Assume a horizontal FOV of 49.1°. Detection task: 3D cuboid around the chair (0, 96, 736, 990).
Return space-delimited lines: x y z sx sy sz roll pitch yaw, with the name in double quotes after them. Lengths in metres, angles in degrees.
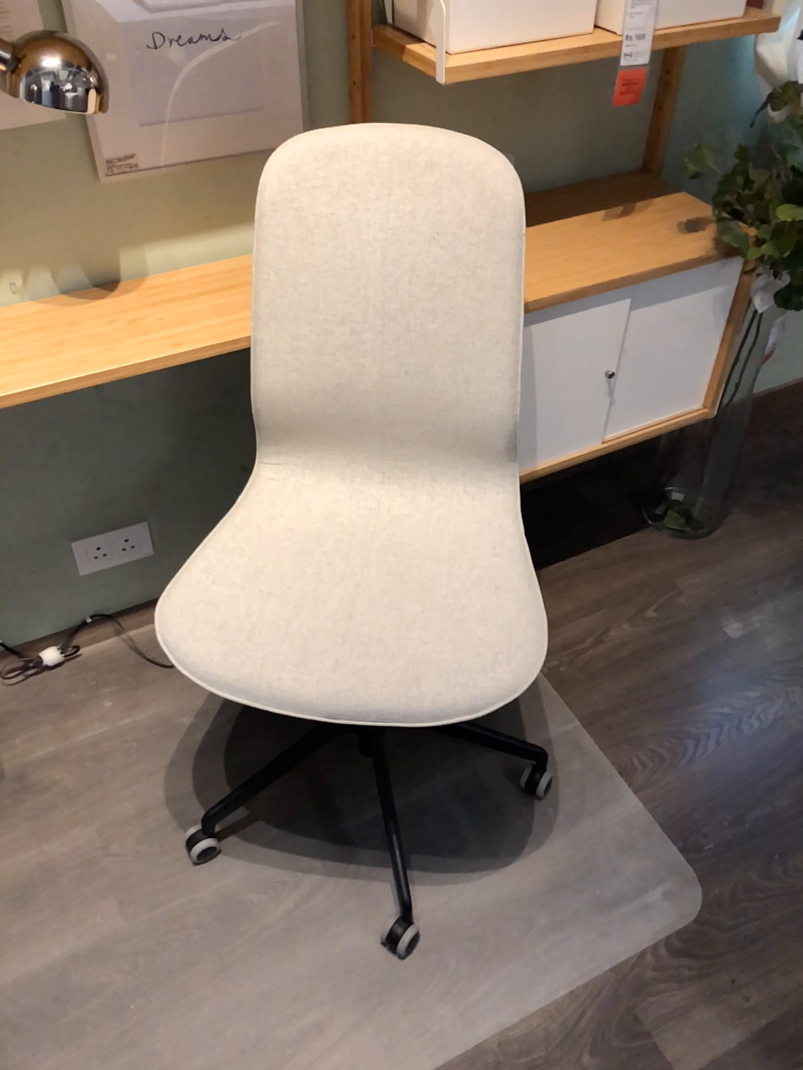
-0.021 0.021 1.166 0.620 0.904 0.654 8 43 8 "chair"
